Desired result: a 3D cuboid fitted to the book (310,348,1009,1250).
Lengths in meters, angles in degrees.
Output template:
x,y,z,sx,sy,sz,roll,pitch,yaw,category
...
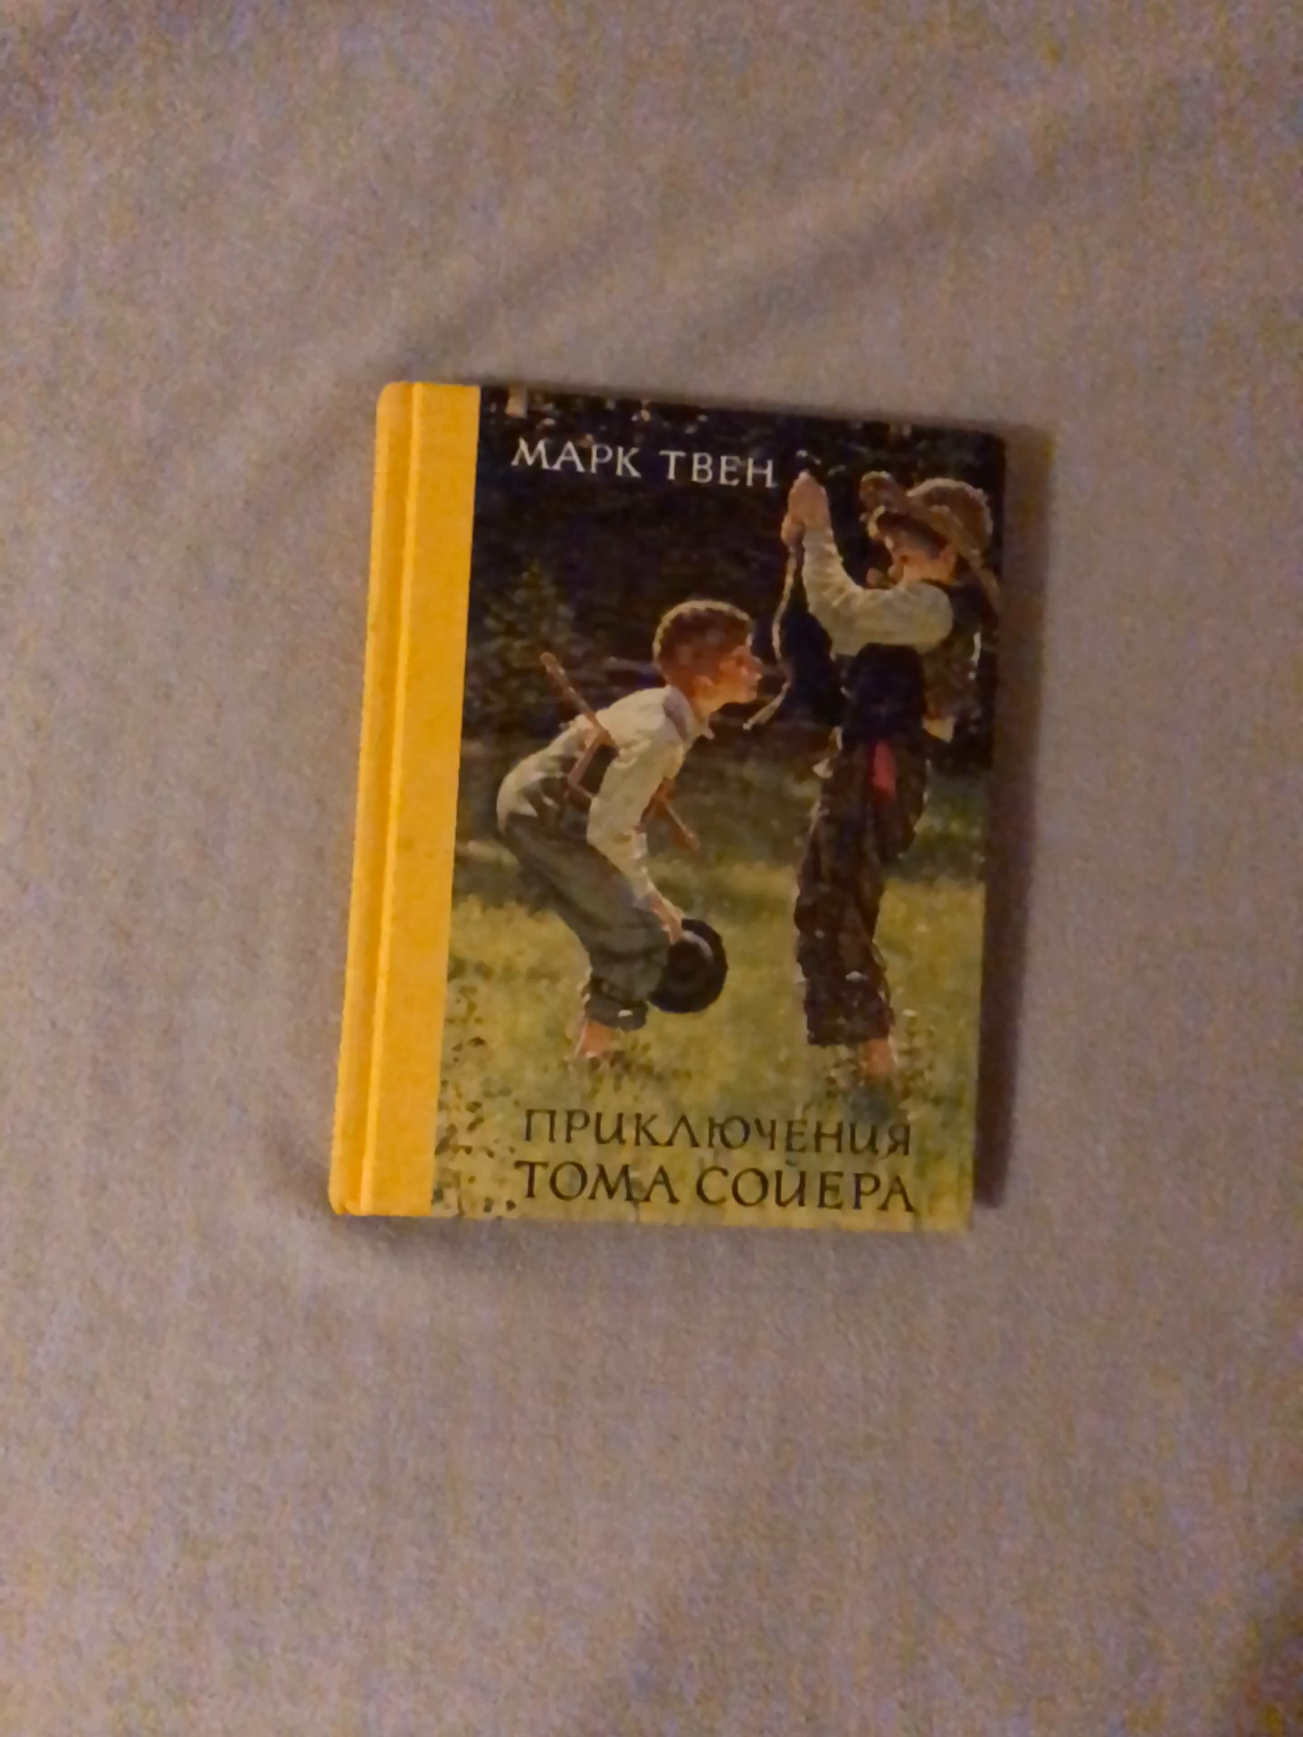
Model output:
x,y,z,sx,sy,sz,roll,pitch,yaw,category
0.005,-0.017,0.387,0.171,0.030,0.224,3,86,-6,book
